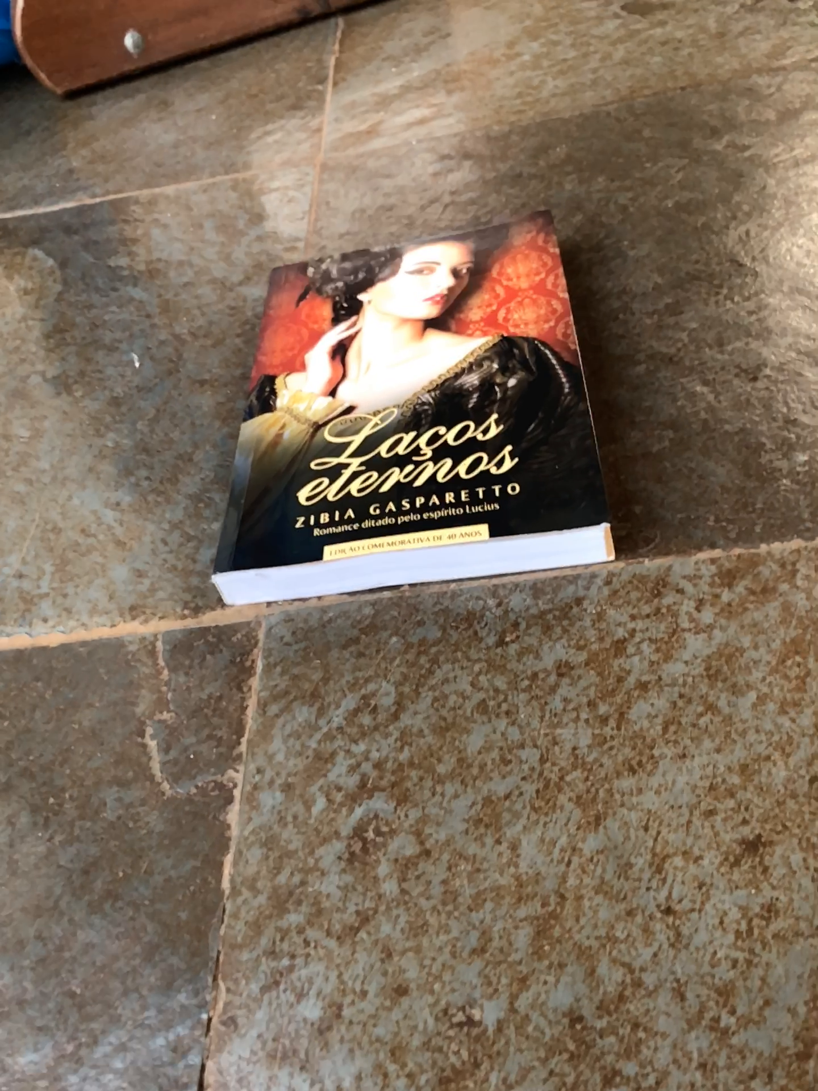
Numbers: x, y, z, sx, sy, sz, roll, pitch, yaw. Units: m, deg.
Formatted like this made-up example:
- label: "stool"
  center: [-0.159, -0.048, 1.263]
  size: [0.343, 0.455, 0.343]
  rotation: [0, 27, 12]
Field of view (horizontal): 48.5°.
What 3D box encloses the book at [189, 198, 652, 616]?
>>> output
- label: "book"
  center: [0.003, -0.069, 0.375]
  size: [0.153, 0.026, 0.206]
  rotation: [-7, 47, 7]
